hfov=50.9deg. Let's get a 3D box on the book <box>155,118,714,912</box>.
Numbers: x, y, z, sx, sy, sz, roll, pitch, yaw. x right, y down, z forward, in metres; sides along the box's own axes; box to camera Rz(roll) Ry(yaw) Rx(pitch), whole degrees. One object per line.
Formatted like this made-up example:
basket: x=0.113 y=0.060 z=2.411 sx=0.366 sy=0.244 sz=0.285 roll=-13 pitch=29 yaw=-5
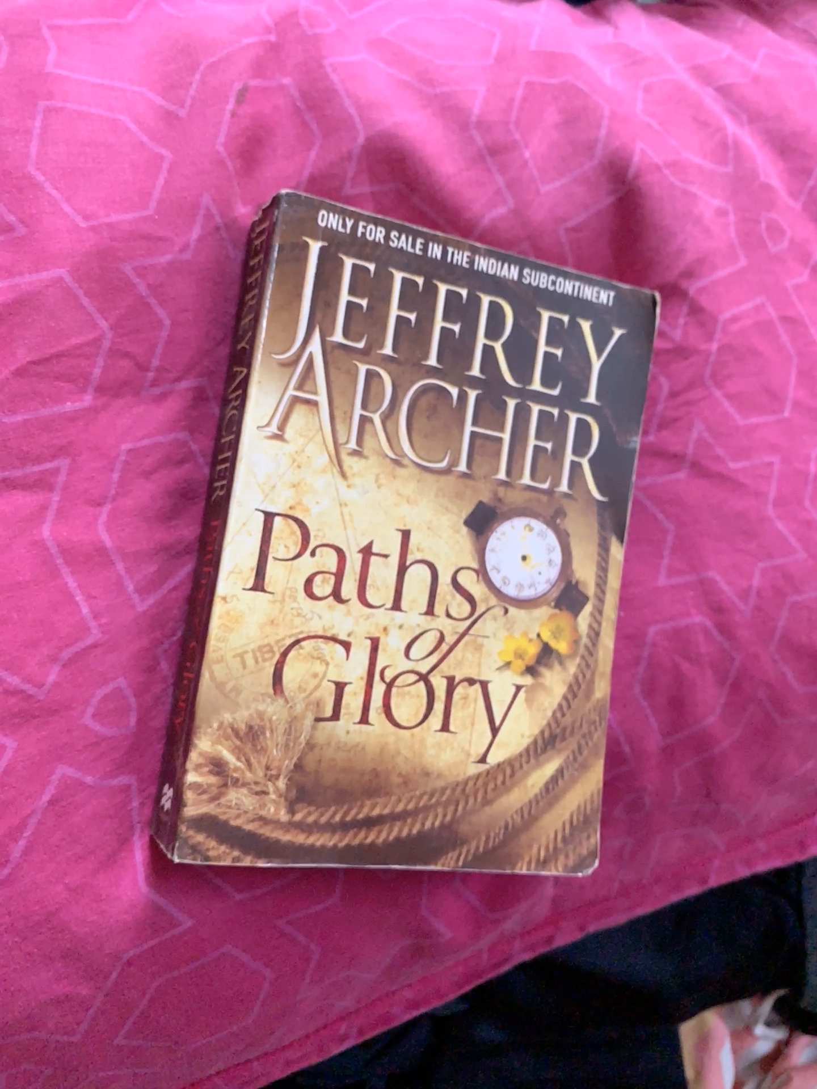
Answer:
book: x=0.009 y=-0.003 z=0.233 sx=0.120 sy=0.040 sz=0.180 roll=10 pitch=84 yaw=-15
